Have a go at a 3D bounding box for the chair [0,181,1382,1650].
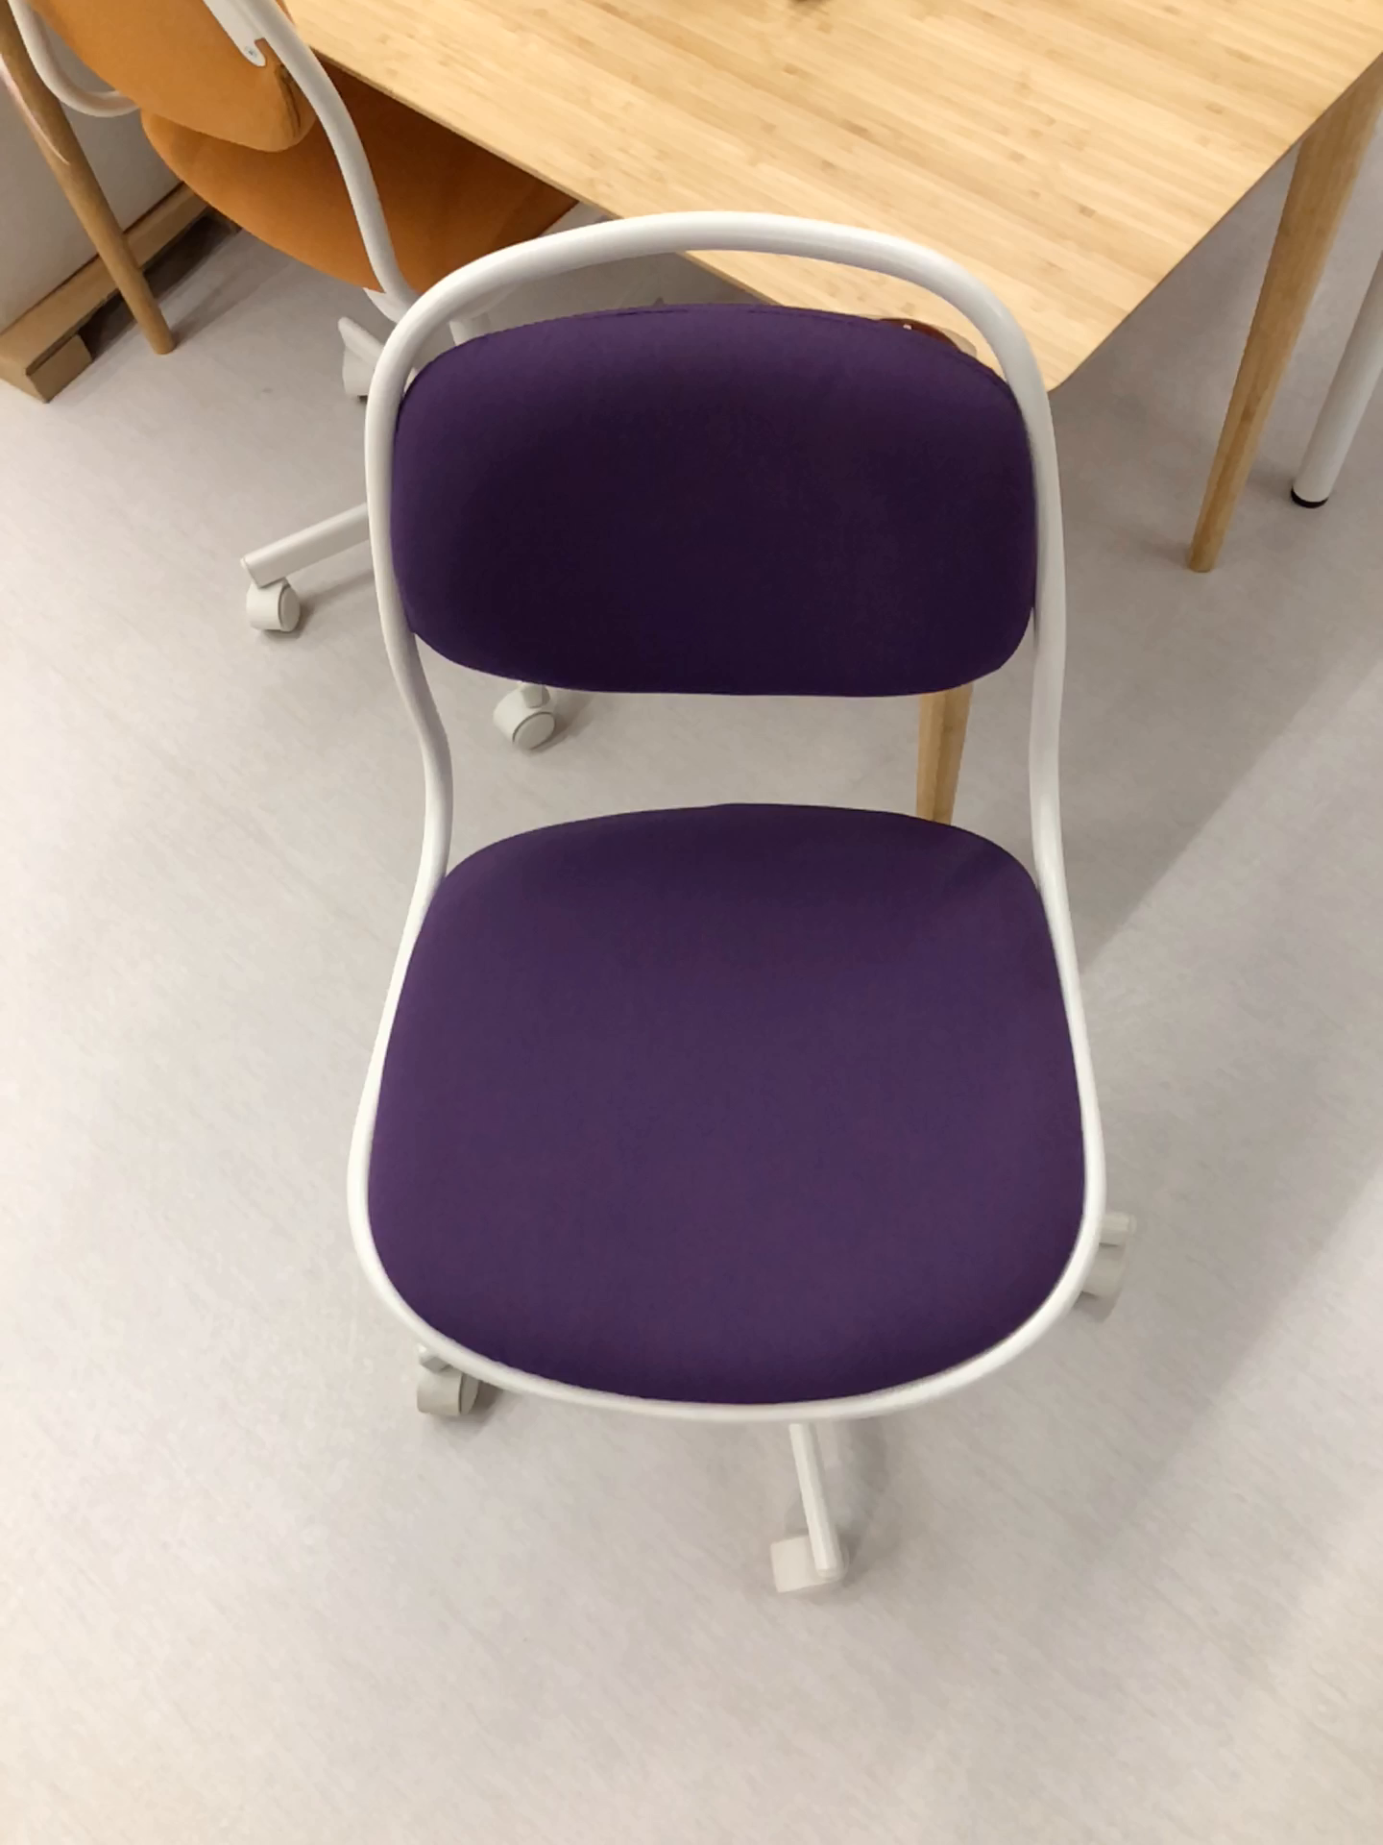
[{"bbox_3d":[0.039,0.083,1.005,0.620,0.777,0.662,2,64,7],"label":"chair"}]
